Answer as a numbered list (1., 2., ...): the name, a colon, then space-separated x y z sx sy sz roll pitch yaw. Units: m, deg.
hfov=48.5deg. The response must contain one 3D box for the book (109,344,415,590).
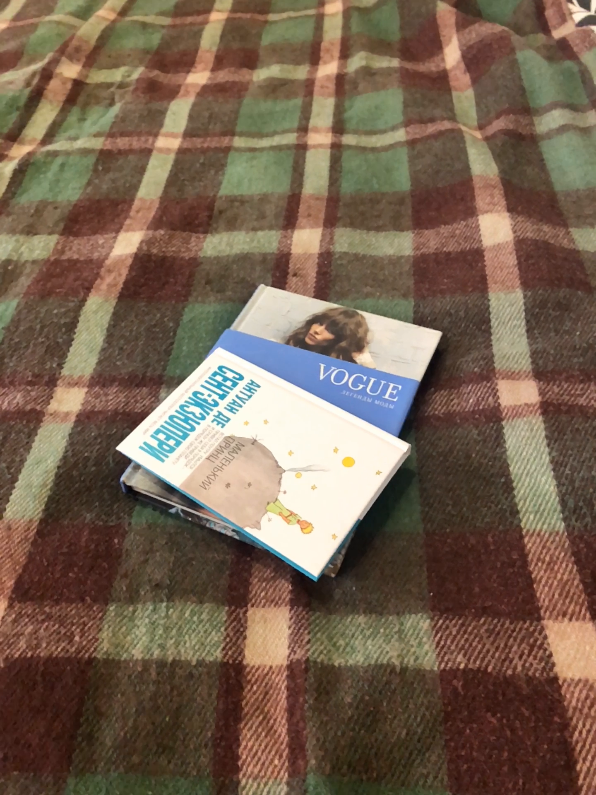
1. book: -0.025 0.036 0.453 0.170 0.014 0.120 27 56 23

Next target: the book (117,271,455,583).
1. book: 0.003 0.002 0.516 0.174 0.023 0.241 18 53 17
